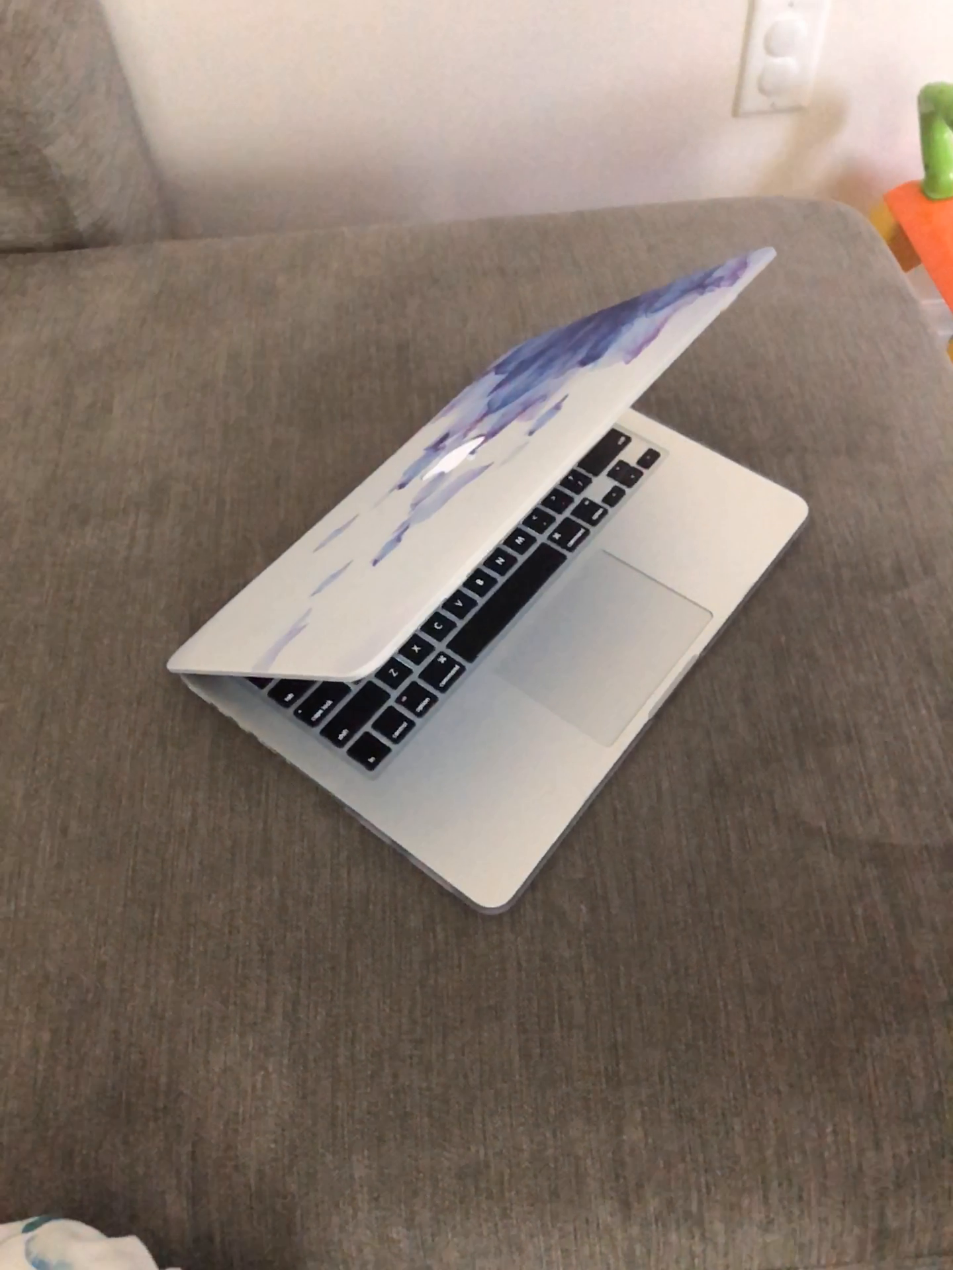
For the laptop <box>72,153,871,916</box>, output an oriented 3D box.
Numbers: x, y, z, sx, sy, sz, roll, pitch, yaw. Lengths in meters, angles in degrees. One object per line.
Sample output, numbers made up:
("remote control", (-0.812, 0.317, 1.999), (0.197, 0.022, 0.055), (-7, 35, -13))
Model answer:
("laptop", (0.013, -0.068, 0.528), (0.217, 0.137, 0.308), (32, 61, 19))
